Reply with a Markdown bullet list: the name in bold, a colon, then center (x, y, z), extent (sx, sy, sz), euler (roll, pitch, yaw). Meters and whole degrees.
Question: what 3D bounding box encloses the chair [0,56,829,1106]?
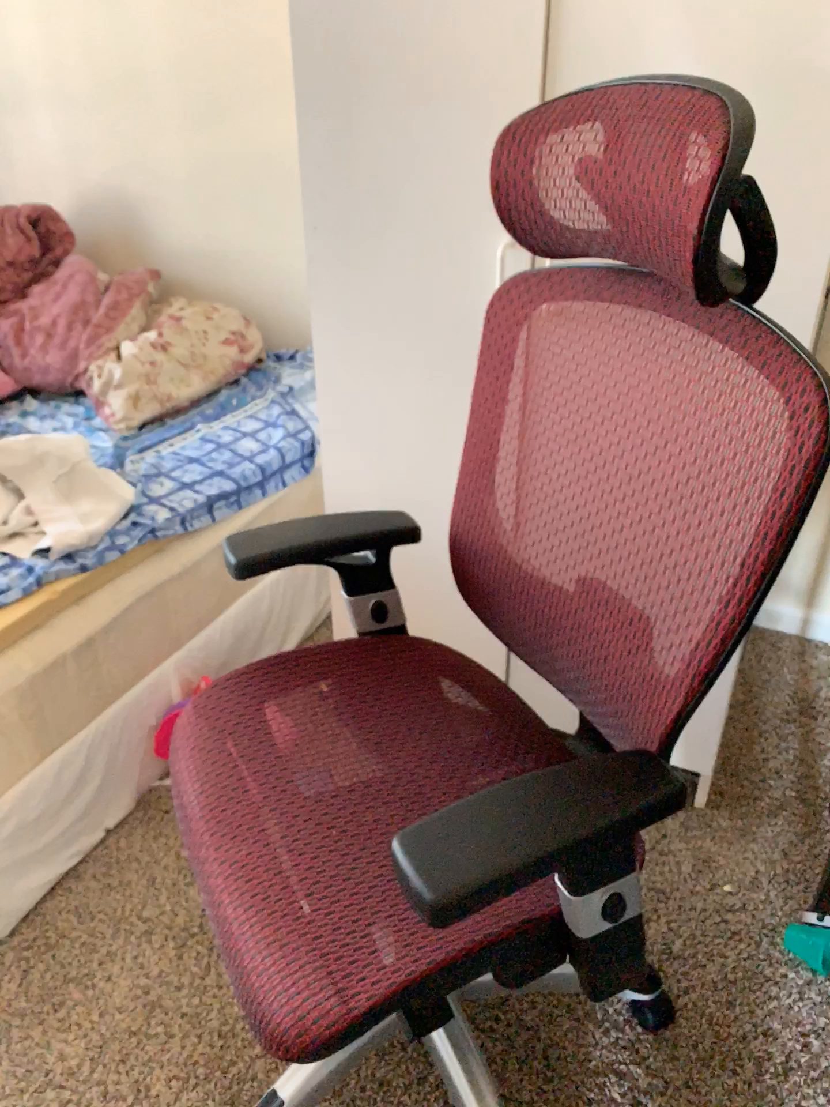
- **chair**: center (0.050, 0.163, 0.895), extent (0.810, 1.155, 0.733), euler (-12, 31, -18)
